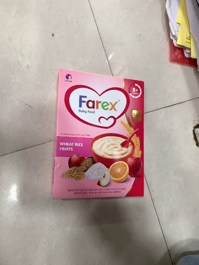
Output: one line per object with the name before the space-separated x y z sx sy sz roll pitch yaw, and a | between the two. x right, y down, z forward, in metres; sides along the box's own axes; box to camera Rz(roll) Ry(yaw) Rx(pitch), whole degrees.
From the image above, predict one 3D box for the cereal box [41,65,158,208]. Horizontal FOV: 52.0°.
cereal box | 0.003 0.009 0.319 0.170 0.050 0.190 3 83 -17
